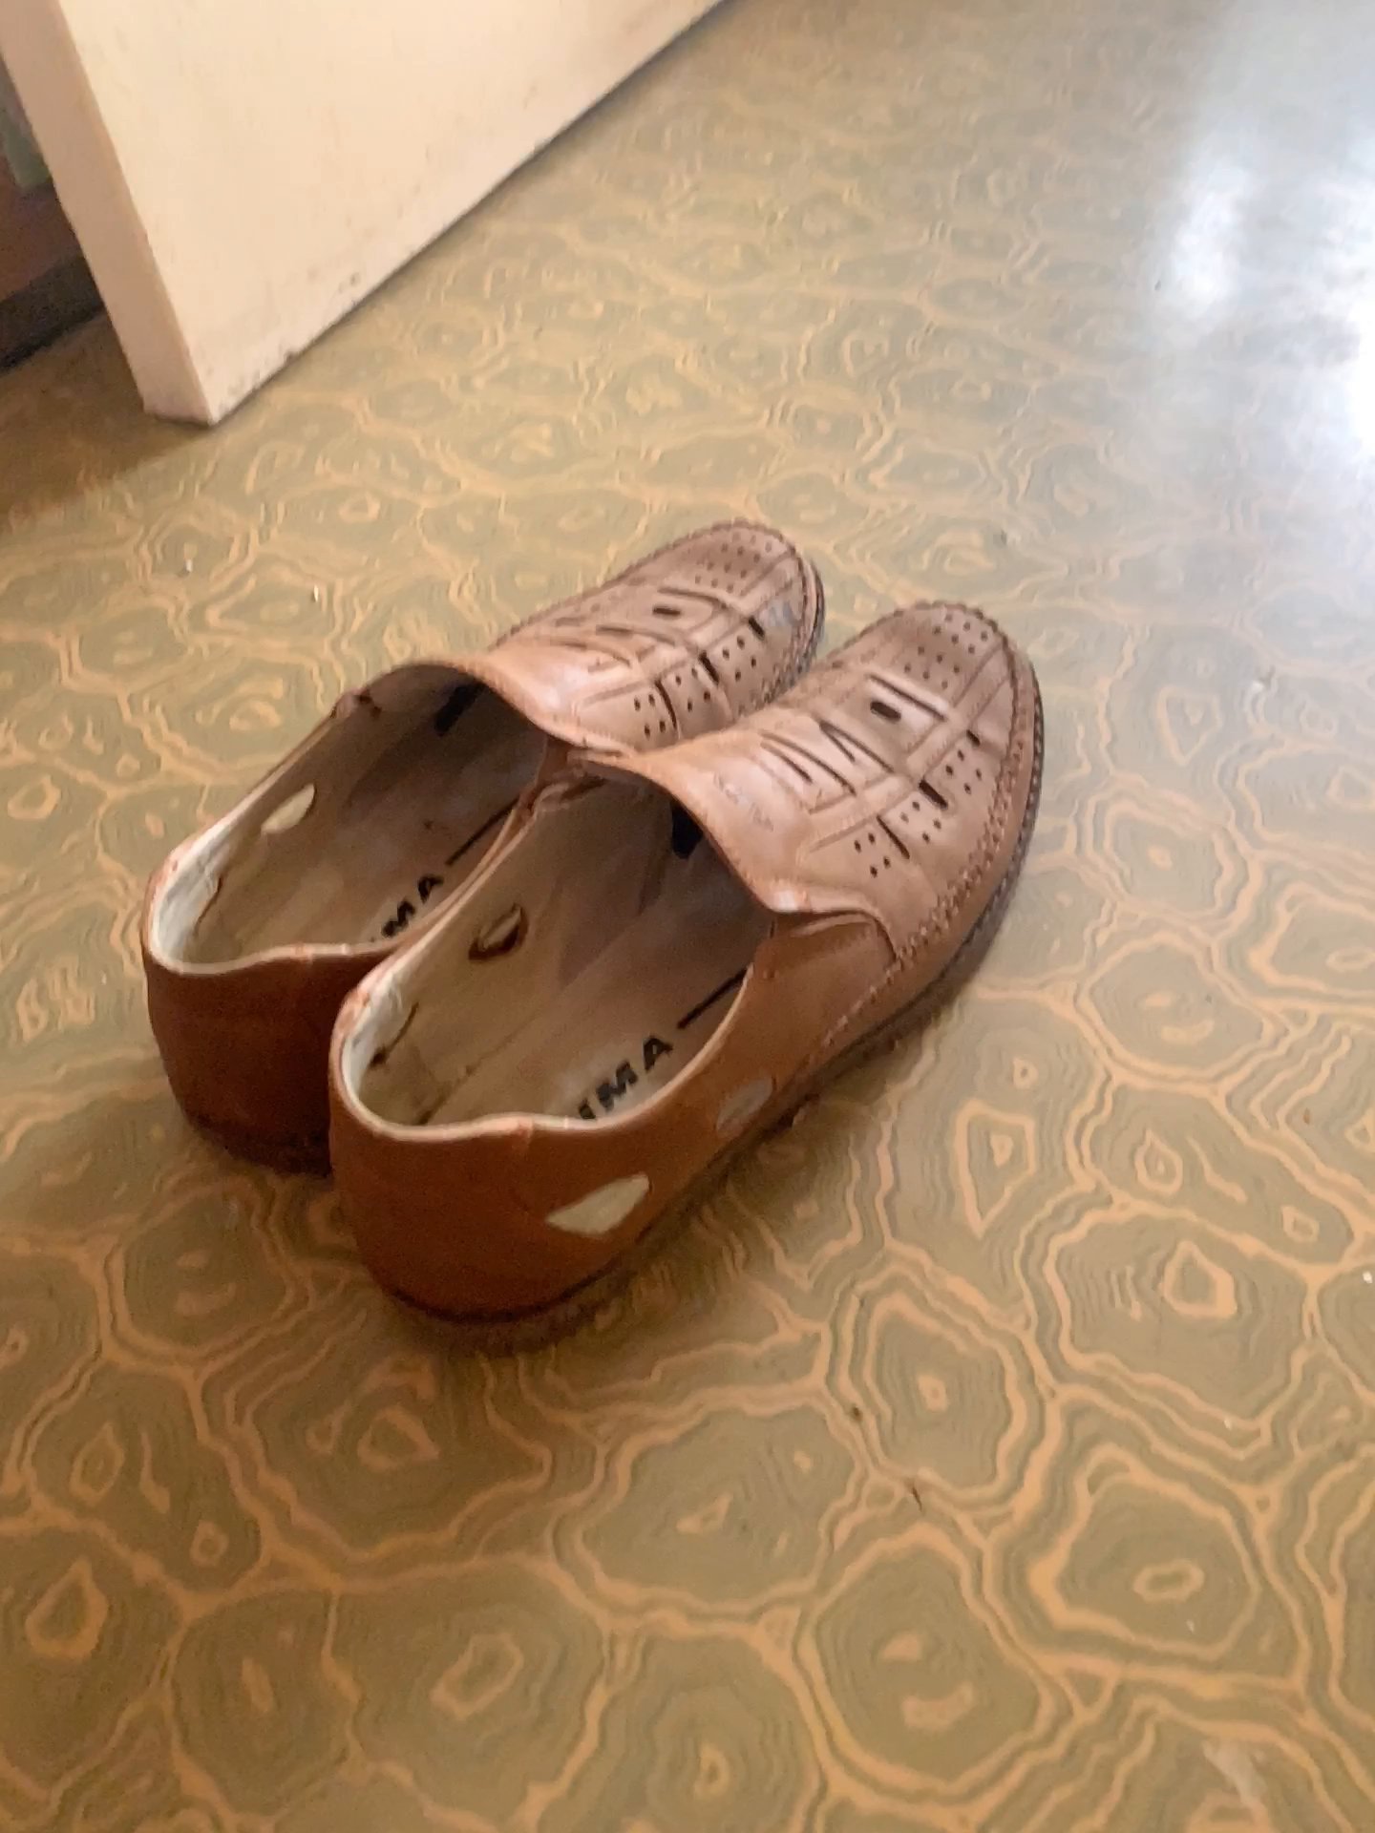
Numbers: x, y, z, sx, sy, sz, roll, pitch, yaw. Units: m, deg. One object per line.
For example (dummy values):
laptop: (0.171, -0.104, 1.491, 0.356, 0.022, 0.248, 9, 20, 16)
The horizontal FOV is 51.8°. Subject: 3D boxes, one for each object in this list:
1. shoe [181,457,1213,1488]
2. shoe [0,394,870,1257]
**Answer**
shoe: (0.021, -0.008, 0.394, 0.110, 0.079, 0.291, 29, 58, 26)
shoe: (-0.061, -0.048, 0.447, 0.100, 0.079, 0.291, 26, 57, 24)
